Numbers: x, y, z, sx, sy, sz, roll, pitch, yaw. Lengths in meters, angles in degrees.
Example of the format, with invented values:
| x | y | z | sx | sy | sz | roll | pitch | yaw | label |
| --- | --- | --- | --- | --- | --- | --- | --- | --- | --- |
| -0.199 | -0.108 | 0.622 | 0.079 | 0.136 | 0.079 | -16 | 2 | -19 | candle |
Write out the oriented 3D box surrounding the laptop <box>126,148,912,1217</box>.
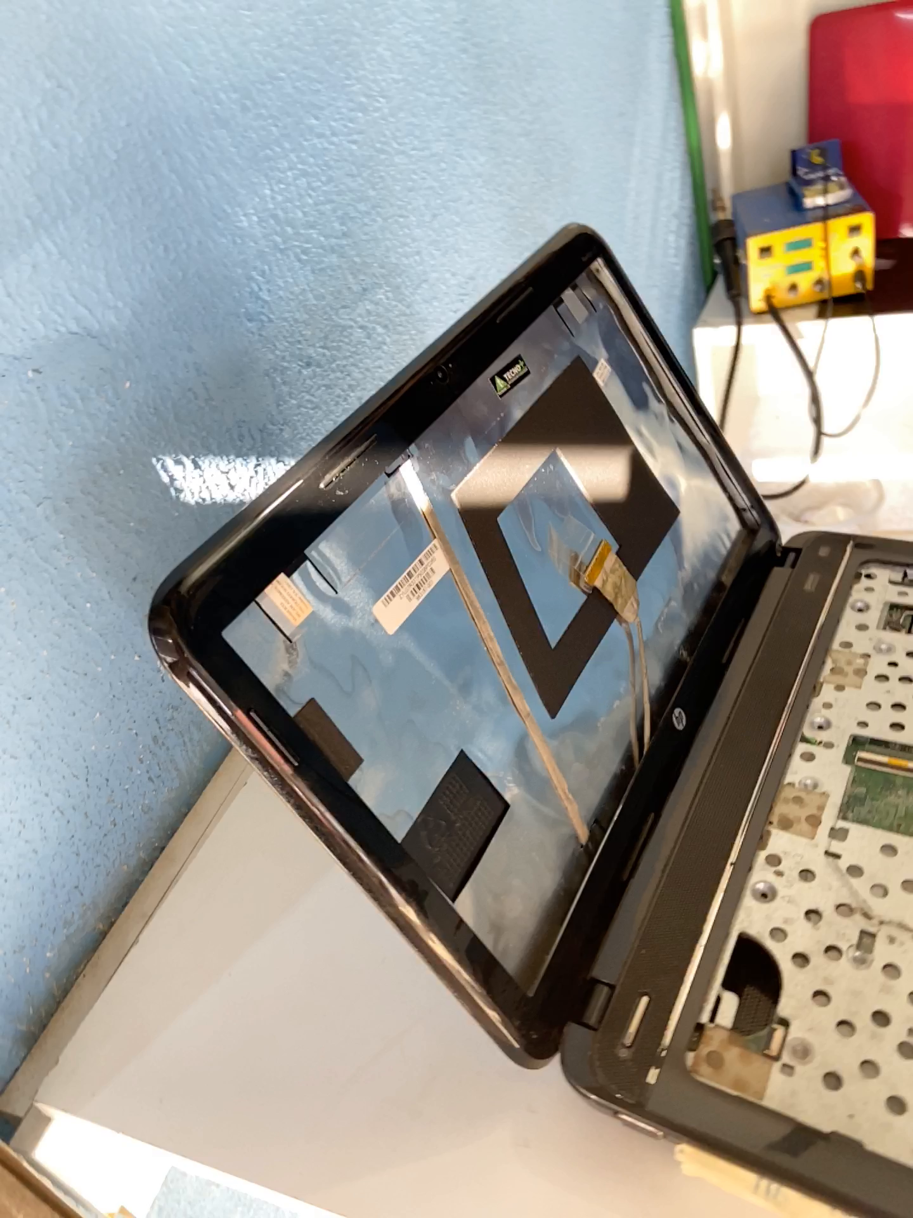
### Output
| x | y | z | sx | sy | sz | roll | pitch | yaw | label |
| --- | --- | --- | --- | --- | --- | --- | --- | --- | --- |
| 0.141 | -0.008 | 0.358 | 0.324 | 0.186 | 0.336 | 9 | 42 | 31 | laptop |
